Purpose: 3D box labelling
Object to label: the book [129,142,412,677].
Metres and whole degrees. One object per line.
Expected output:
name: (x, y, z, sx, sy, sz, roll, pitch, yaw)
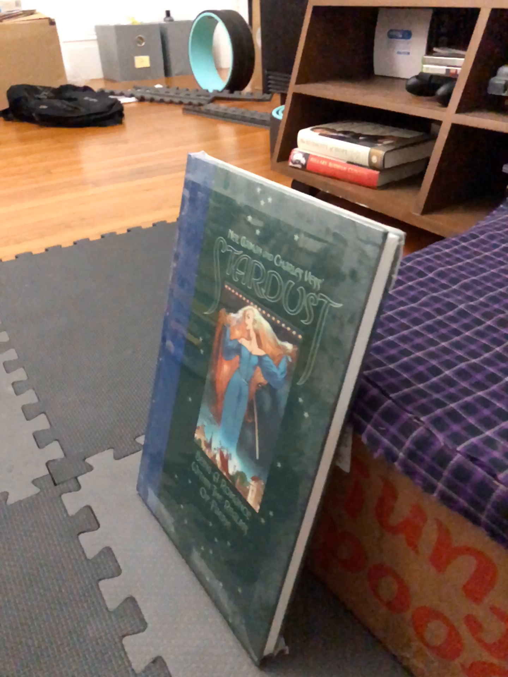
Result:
book: (-0.020, 0.045, 0.408, 0.020, 0.329, 0.211, -4, 26, -36)
